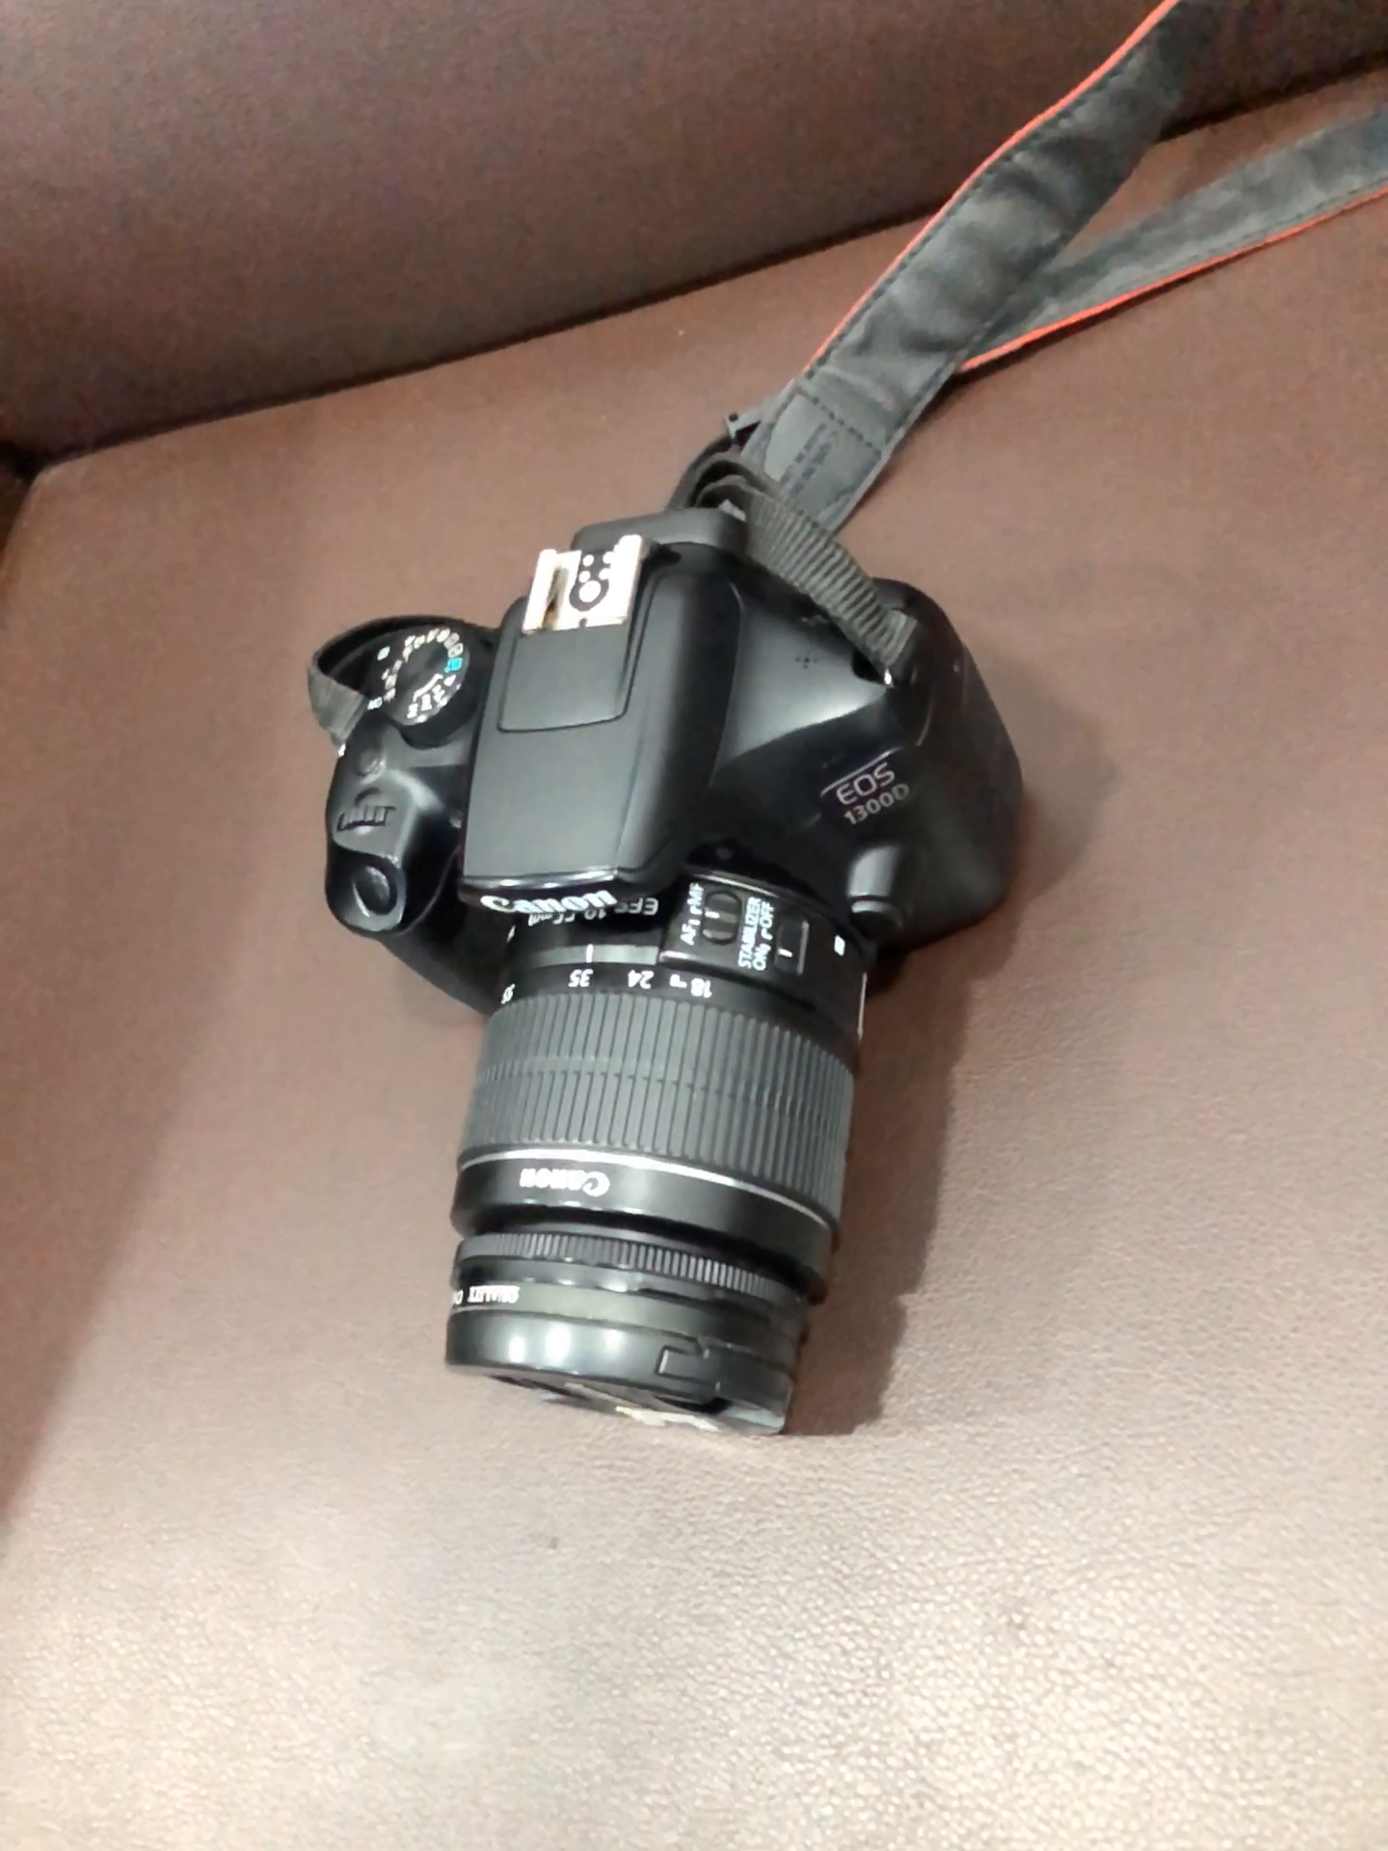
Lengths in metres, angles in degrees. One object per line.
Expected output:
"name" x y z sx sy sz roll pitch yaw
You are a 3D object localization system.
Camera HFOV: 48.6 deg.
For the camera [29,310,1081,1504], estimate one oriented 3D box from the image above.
"camera" -0.010 -0.001 0.275 0.130 0.090 0.171 -3 62 25
